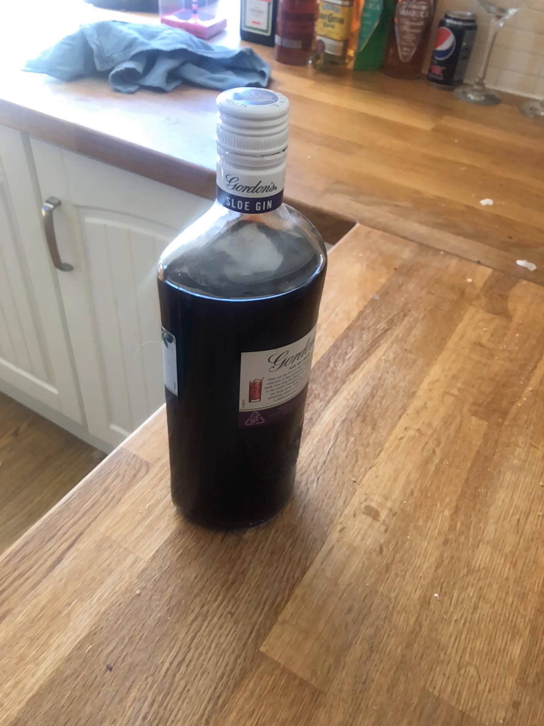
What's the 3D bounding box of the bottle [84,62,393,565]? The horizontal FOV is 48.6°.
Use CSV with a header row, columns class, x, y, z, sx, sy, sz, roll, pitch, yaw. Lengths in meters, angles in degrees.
class,x,y,z,sx,sy,sz,roll,pitch,yaw
bottle,-0.018,-0.014,0.323,0.080,0.238,0.101,28,46,24
